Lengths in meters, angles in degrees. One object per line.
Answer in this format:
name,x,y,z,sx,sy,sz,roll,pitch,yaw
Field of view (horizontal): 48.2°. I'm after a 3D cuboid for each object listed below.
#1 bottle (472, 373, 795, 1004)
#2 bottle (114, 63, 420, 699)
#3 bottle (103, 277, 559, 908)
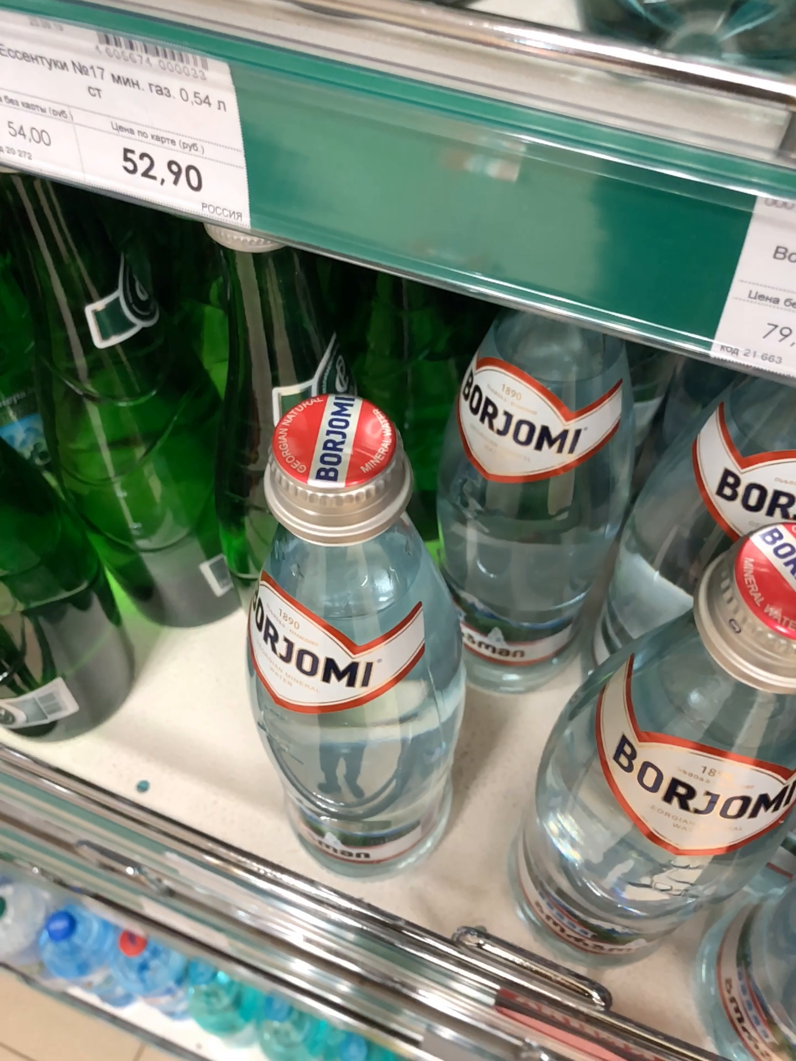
bottle,0.075,0.071,0.257,0.069,0.236,0.065,0,56,0
bottle,-0.035,-0.026,0.316,0.065,0.238,0.069,0,56,0
bottle,-0.012,0.045,0.276,0.068,0.236,0.063,0,56,0
